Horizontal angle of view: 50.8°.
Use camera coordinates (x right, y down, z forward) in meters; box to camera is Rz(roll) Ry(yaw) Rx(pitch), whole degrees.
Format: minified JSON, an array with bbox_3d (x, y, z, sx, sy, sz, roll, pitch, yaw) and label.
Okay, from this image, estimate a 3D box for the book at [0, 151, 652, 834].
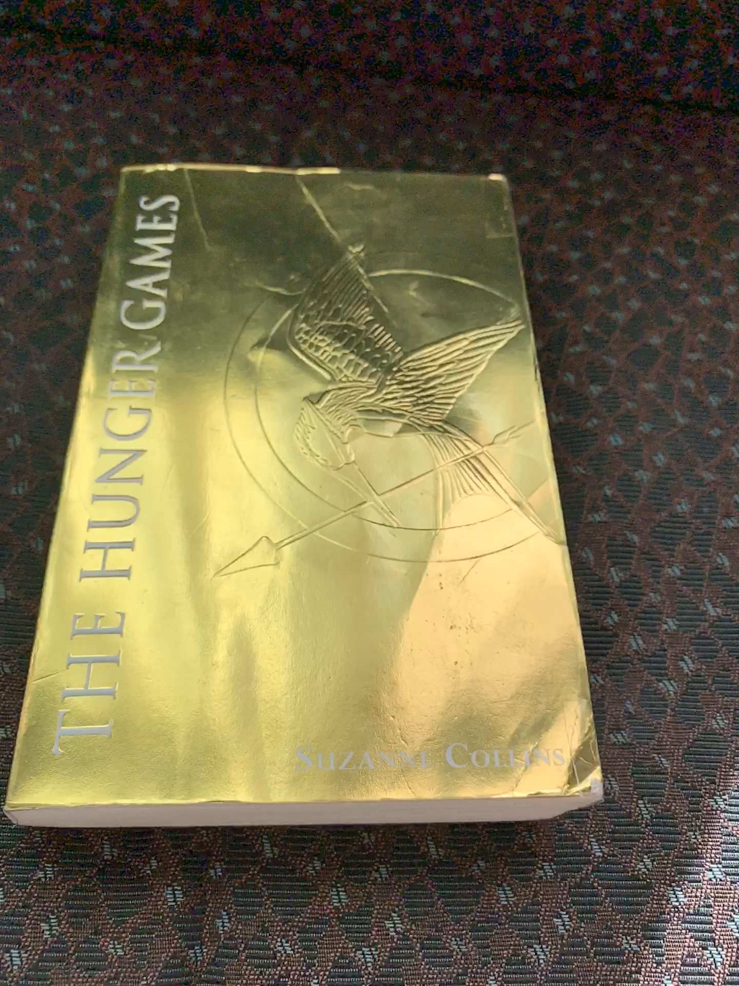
[{"bbox_3d":[-0.014,-0.013,0.228,0.142,0.037,0.201,1,61,-6],"label":"book"}]
